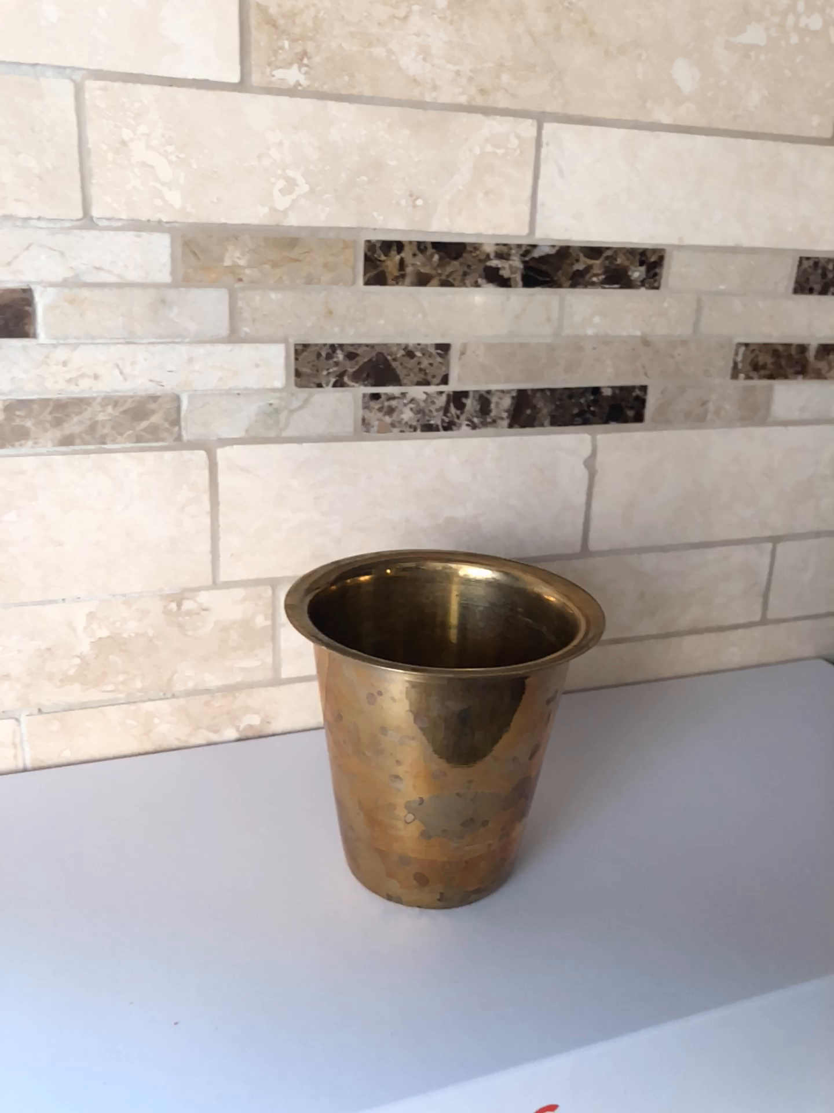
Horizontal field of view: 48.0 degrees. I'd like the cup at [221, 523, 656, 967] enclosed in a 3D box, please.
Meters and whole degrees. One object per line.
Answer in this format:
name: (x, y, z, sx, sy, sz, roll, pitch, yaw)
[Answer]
cup: (0.000, 0.040, 0.243, 0.083, 0.071, 0.075, -6, 21, -24)
